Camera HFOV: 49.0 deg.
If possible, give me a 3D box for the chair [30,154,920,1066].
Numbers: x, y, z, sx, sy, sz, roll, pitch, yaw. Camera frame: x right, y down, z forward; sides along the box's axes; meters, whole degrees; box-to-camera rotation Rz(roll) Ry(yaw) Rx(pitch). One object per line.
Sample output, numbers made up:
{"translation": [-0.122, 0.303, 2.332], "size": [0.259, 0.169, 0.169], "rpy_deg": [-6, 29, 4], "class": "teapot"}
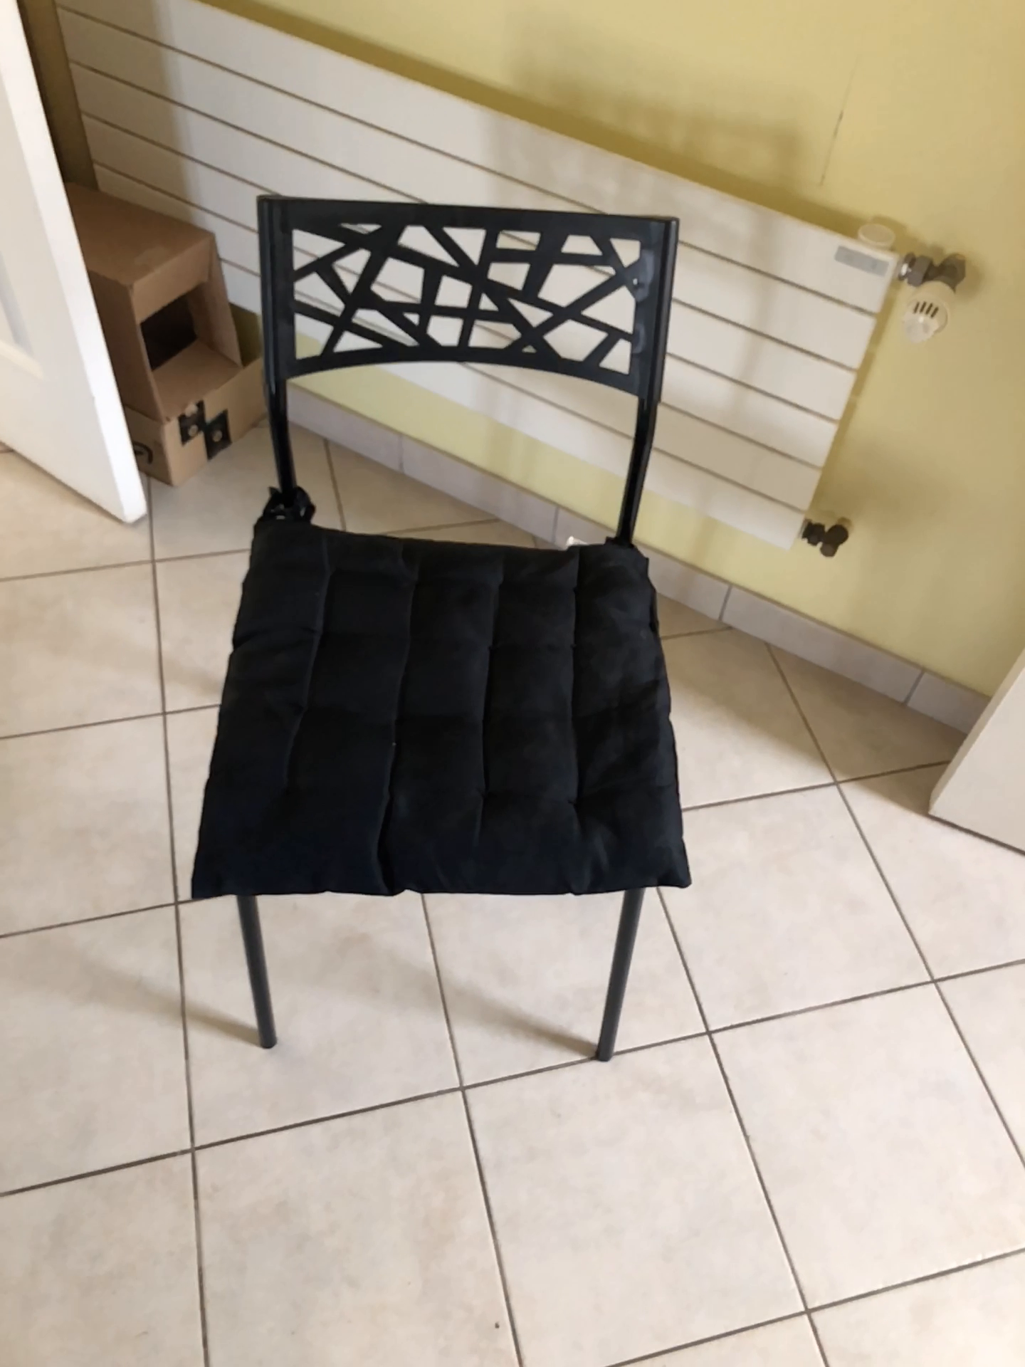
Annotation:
{"translation": [-0.040, -0.014, 1.108], "size": [0.520, 0.736, 0.523], "rpy_deg": [2, 52, -3], "class": "chair"}
